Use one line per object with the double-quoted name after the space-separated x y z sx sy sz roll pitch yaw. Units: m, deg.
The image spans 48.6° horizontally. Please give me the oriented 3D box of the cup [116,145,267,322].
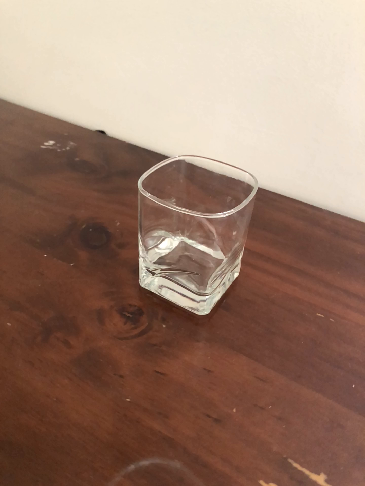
0.005 -0.011 0.304 0.077 0.087 0.076 4 36 -3 "cup"
